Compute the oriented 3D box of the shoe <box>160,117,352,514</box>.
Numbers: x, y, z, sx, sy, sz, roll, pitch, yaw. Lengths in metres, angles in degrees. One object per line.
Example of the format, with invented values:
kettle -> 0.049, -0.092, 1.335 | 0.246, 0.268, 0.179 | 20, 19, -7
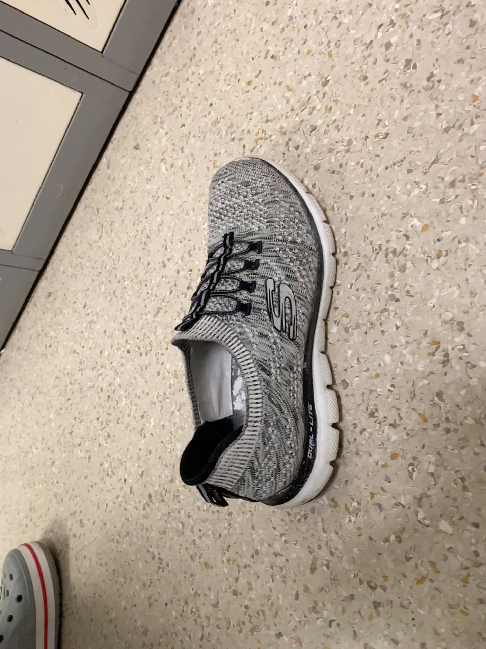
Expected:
shoe -> 0.007, -0.003, 0.364 | 0.094, 0.093, 0.241 | -11, 76, 45
